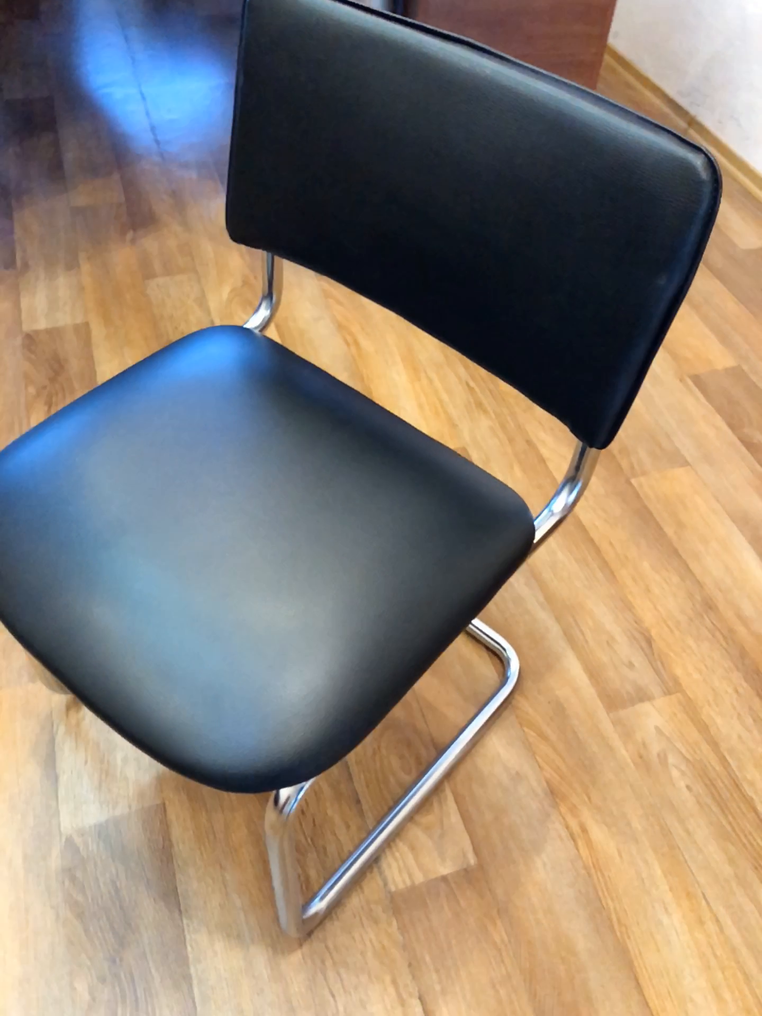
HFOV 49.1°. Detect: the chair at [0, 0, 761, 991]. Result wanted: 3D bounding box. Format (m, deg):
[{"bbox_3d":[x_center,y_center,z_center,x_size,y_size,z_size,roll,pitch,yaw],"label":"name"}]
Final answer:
[{"bbox_3d":[-0.099,0.000,0.841,0.492,0.745,0.526,35,56,24],"label":"chair"}]
